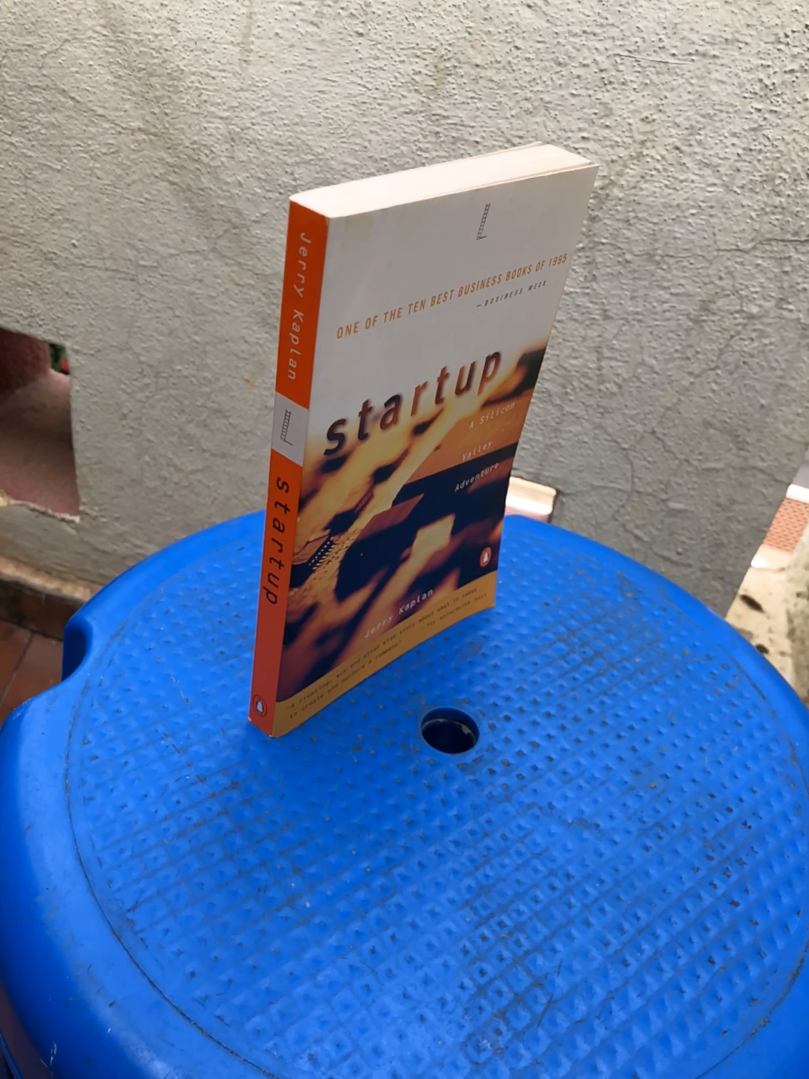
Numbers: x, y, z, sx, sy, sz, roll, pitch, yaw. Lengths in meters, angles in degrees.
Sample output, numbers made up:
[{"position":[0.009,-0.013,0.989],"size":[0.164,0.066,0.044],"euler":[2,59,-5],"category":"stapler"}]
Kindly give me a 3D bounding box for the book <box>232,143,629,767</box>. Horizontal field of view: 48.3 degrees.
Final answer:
[{"position":[0.005,-0.029,0.328],"size":[0.030,0.199,0.141],"euler":[33,41,26],"category":"book"}]
